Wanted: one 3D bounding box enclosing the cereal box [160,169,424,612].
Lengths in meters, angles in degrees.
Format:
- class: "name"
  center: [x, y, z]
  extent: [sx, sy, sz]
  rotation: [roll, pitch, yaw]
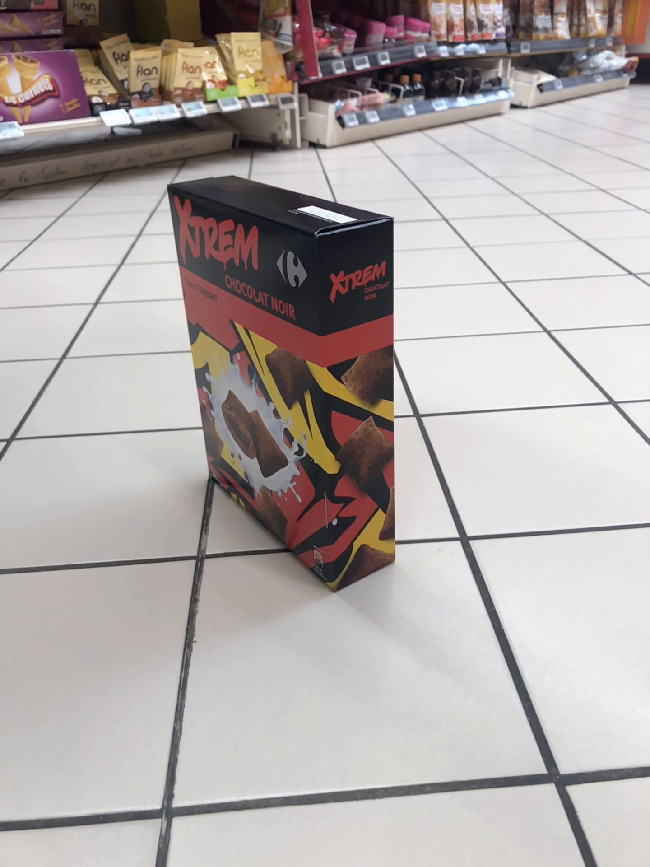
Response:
- class: "cereal box"
  center: [-0.027, -0.040, 0.506]
  extent: [0.070, 0.249, 0.200]
  rotation: [-19, 33, -28]
